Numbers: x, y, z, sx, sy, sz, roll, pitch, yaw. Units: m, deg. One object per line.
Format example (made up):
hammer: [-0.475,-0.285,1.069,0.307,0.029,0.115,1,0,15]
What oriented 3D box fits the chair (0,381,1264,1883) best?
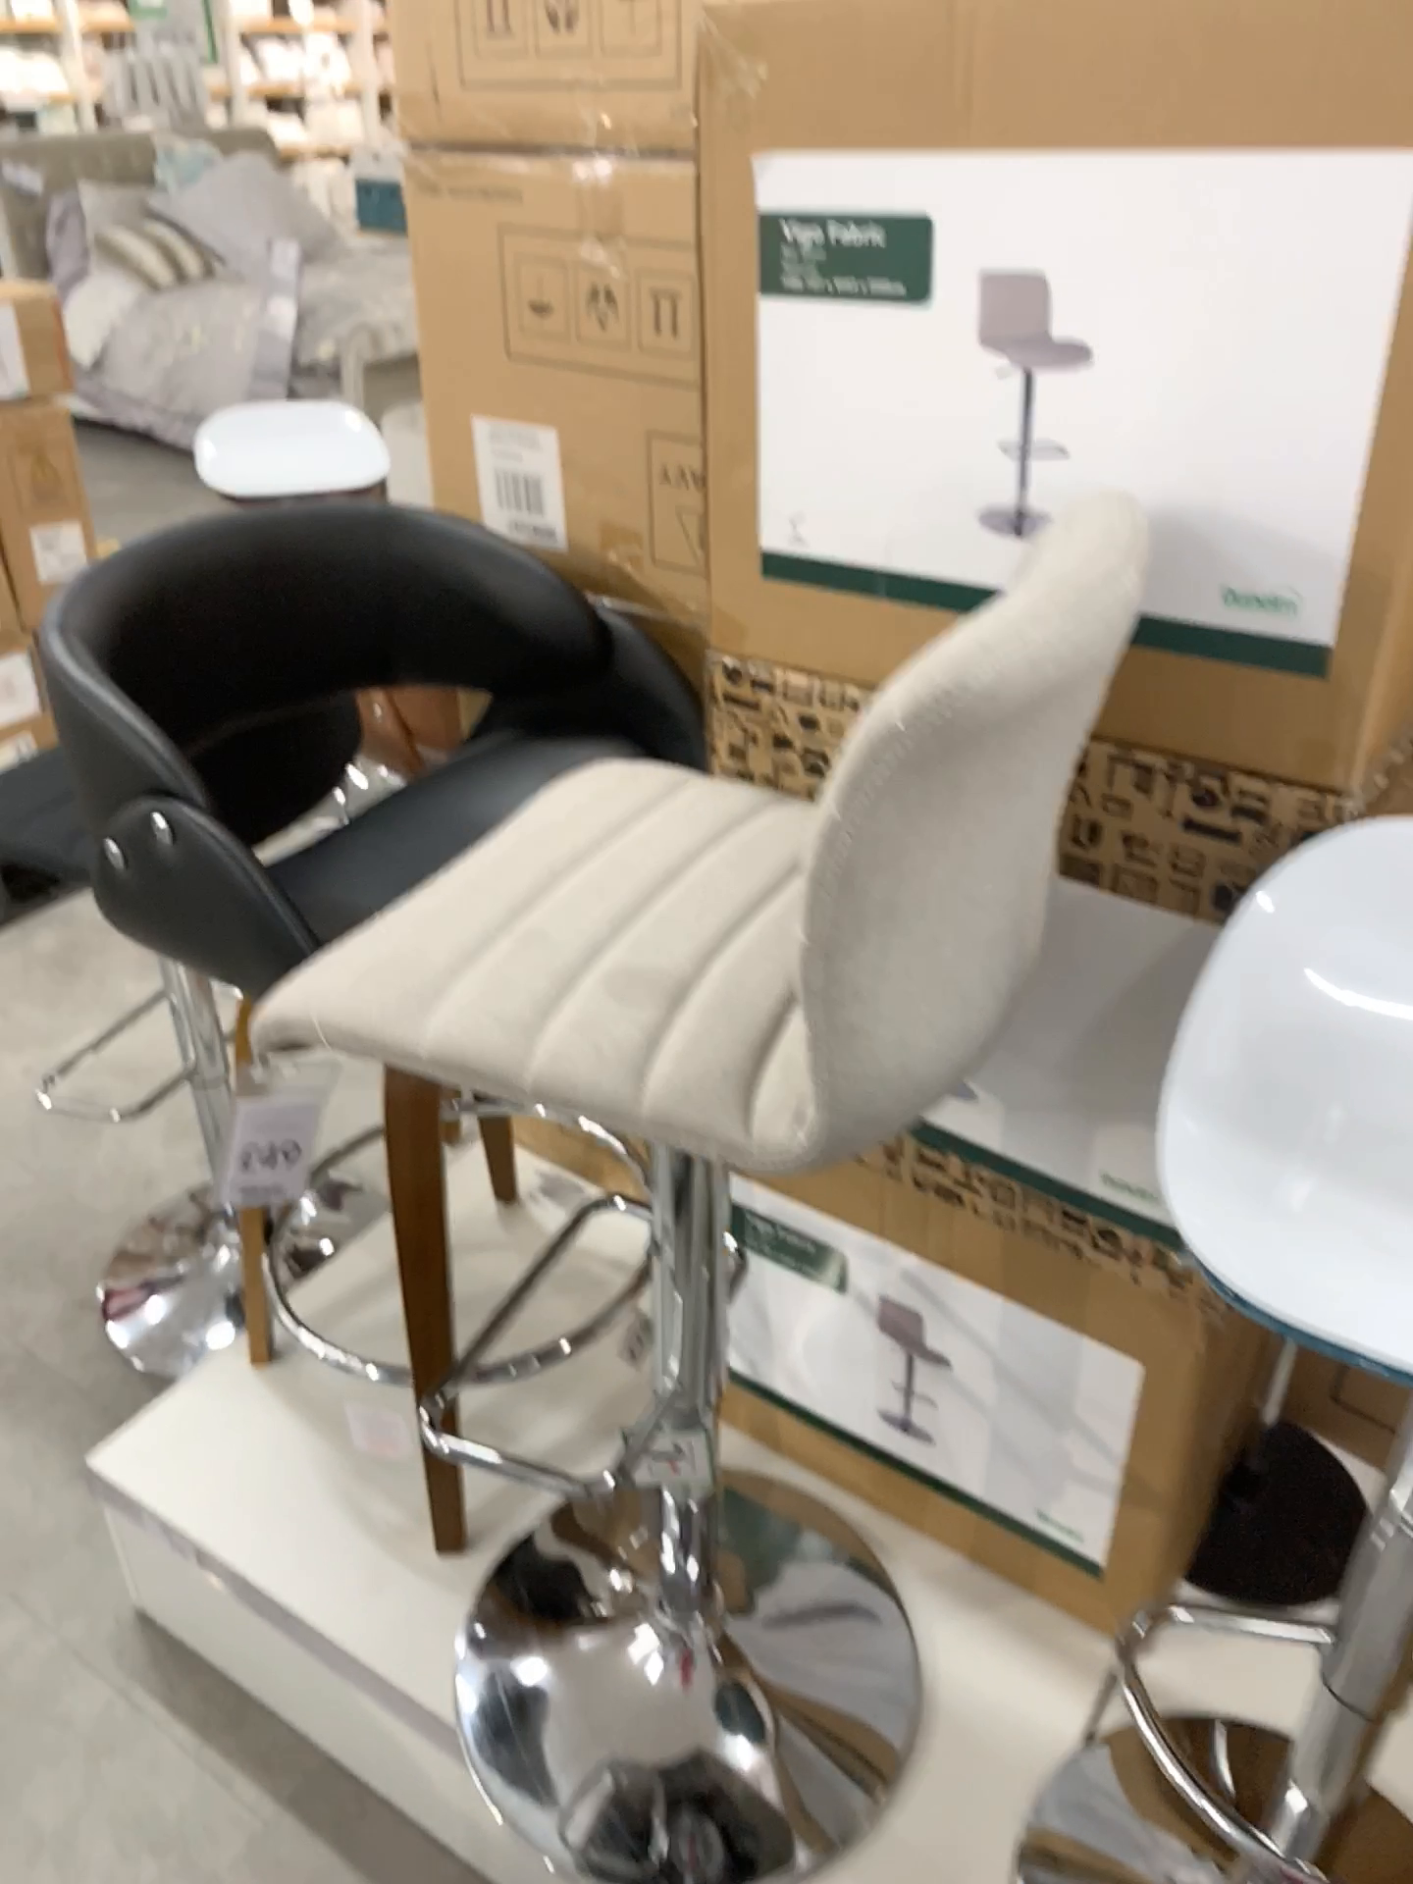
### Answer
chair: [-0.014,0.186,1.031,0.509,0.984,0.467,17,35,25]

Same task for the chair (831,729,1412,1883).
chair: [0.360,0.367,0.861,0.405,0.826,0.390,17,35,26]

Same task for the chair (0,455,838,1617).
chair: [-0.242,0.057,1.417,0.489,0.865,0.537,21,37,30]
